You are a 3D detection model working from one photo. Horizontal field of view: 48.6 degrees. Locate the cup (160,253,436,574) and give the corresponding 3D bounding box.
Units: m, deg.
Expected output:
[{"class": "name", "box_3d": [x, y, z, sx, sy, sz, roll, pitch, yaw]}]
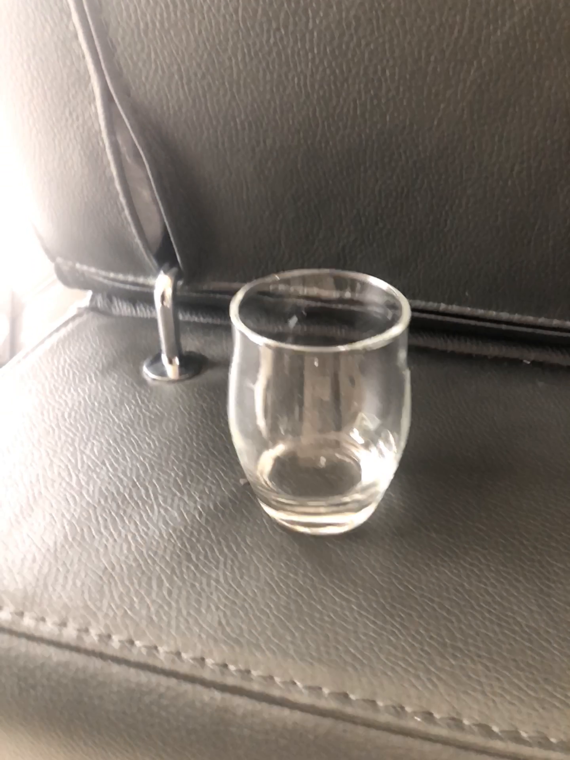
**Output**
[{"class": "cup", "box_3d": [0.009, 0.009, 0.267, 0.080, 0.089, 0.081, -1, 33, 0]}]
